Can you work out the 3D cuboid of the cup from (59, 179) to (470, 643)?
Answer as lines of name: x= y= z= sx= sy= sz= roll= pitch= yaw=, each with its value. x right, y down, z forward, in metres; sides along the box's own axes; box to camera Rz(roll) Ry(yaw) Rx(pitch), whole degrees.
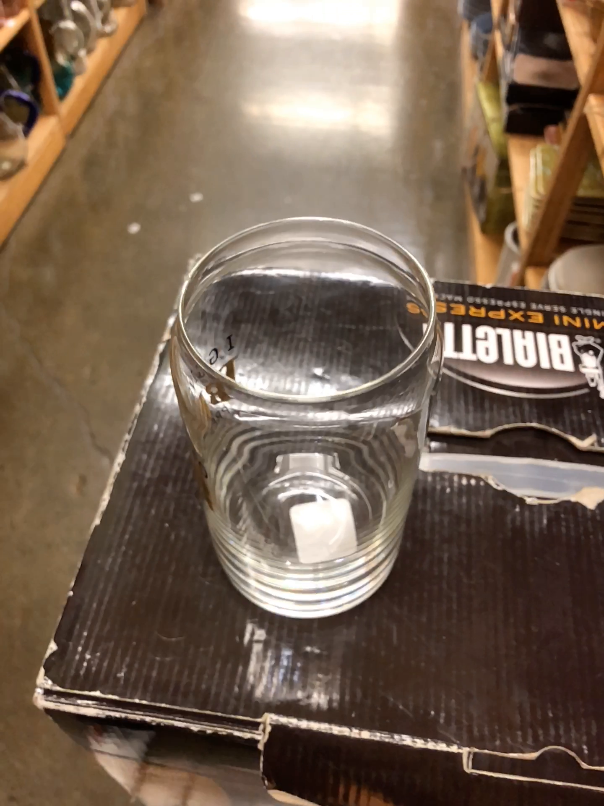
cup: x=-0.004 y=0.008 z=0.213 sx=0.087 sy=0.116 sz=0.081 roll=1 pitch=52 yaw=-1
